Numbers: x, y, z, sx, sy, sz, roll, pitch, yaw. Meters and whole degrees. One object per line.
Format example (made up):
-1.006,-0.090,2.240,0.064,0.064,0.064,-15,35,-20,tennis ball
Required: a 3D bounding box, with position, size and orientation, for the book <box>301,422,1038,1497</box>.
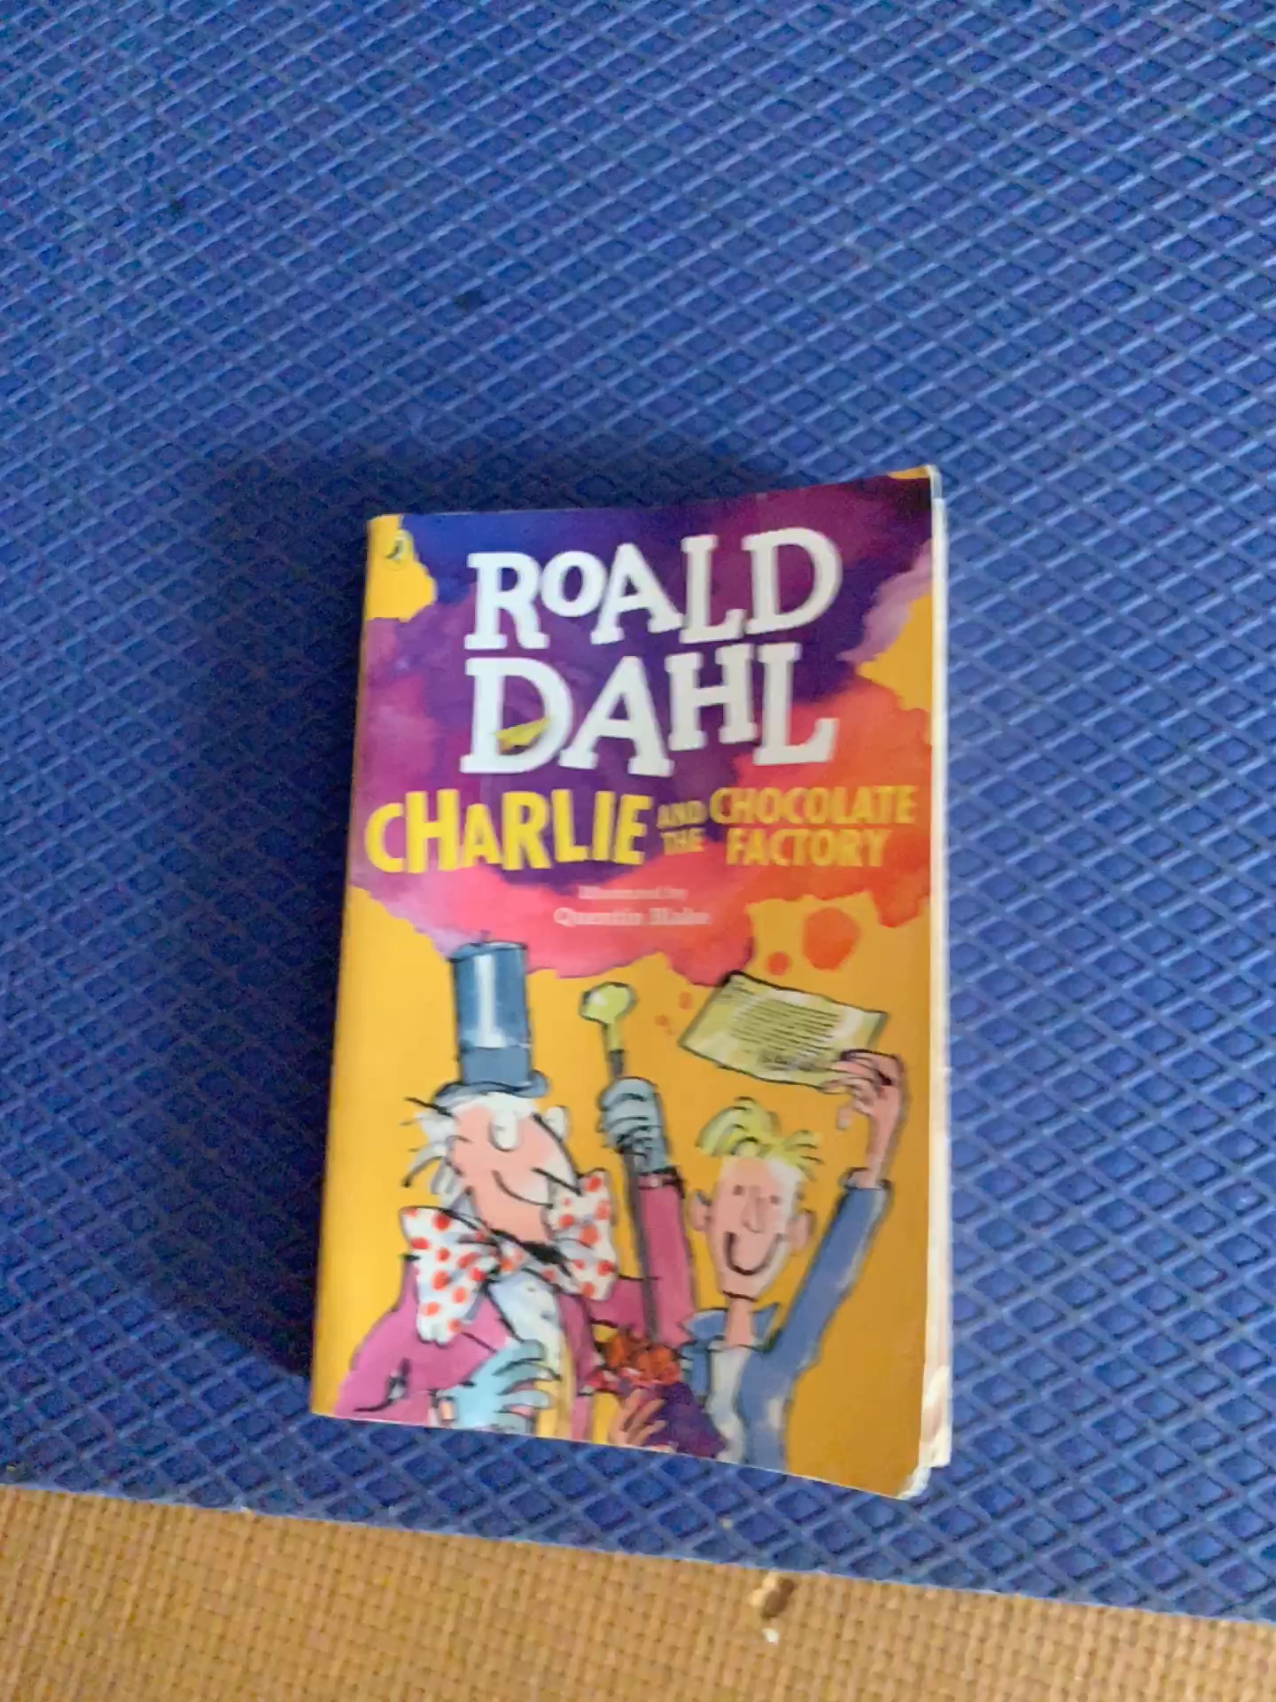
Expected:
0.008,0.015,0.280,0.140,0.020,0.210,0,80,8,book
